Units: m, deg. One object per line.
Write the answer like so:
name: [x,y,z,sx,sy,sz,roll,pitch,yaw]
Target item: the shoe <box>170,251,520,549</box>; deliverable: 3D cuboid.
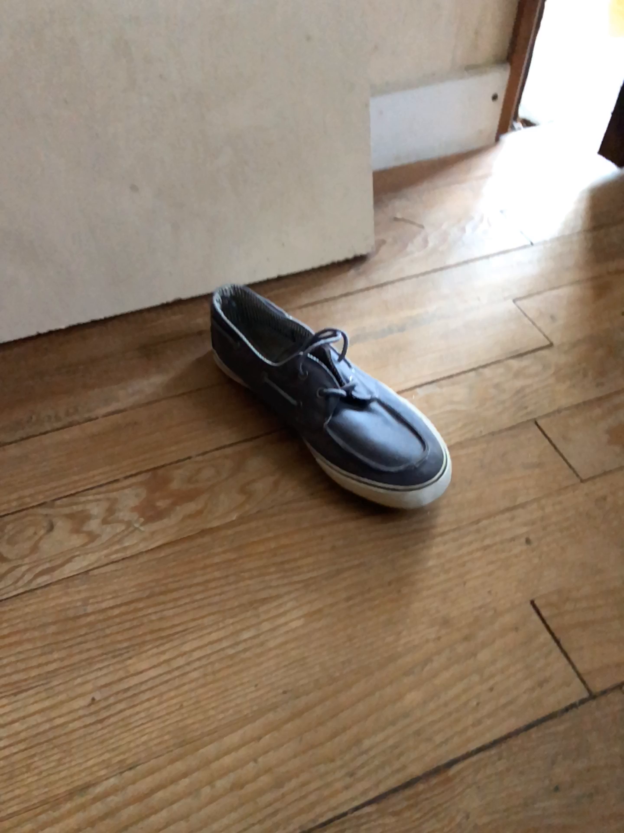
shoe: [0.015,-0.026,0.546,0.270,0.060,0.100,37,58,26]
